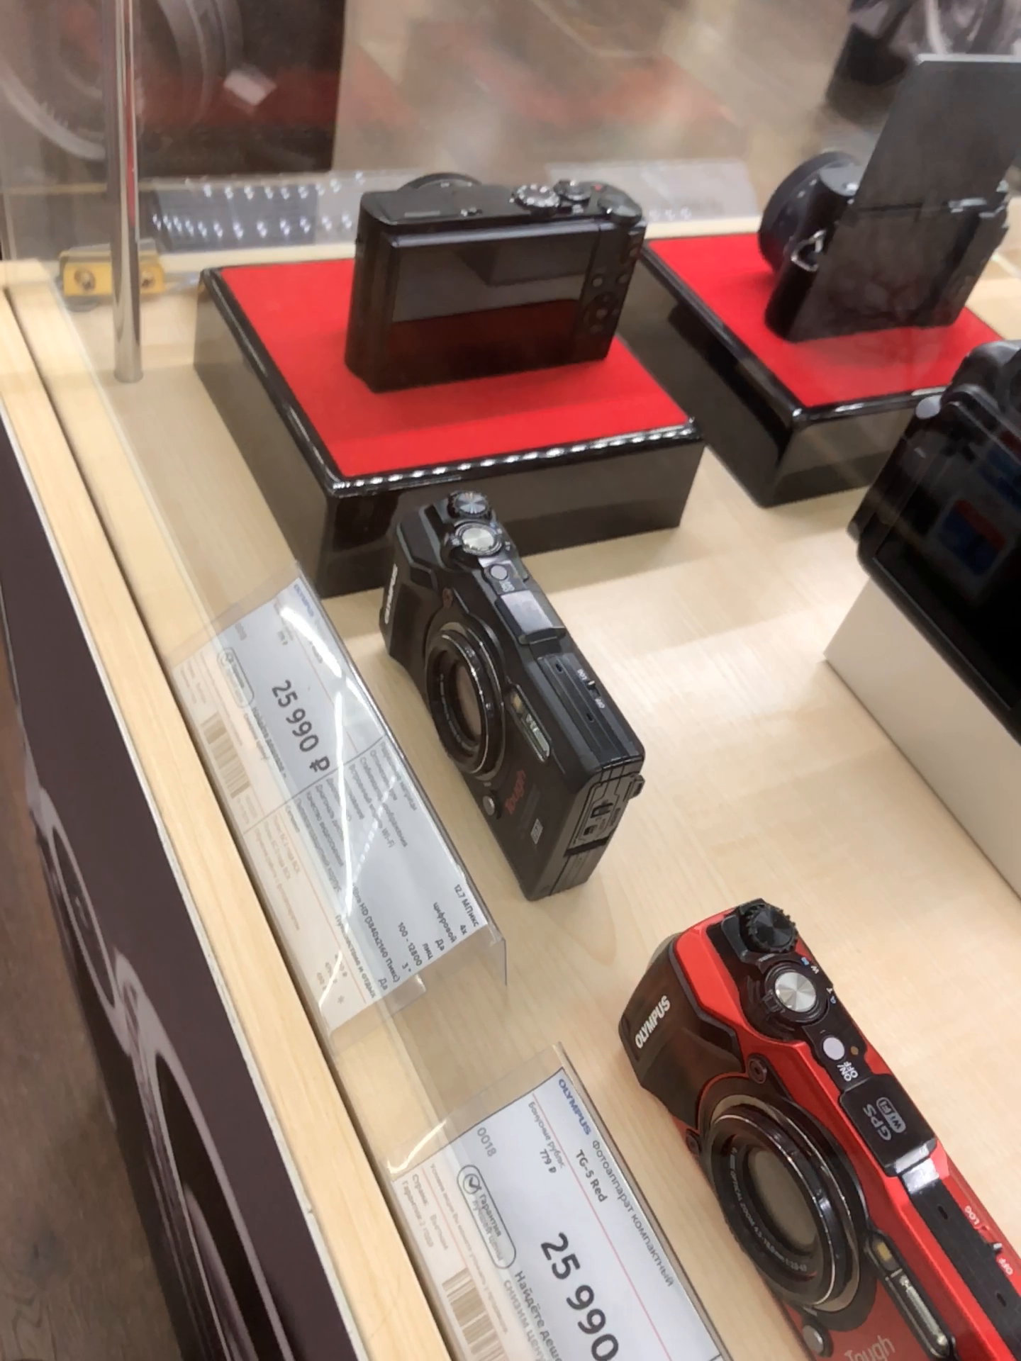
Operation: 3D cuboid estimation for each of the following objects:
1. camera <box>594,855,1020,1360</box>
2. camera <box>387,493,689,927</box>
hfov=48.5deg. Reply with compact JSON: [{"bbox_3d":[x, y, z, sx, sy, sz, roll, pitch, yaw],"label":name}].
[{"bbox_3d":[0.067,0.107,0.257,0.030,0.060,0.117,-13,54,-25],"label":"camera"},{"bbox_3d":[0.002,0.006,0.343,0.030,0.060,0.117,-13,54,-25],"label":"camera"}]
